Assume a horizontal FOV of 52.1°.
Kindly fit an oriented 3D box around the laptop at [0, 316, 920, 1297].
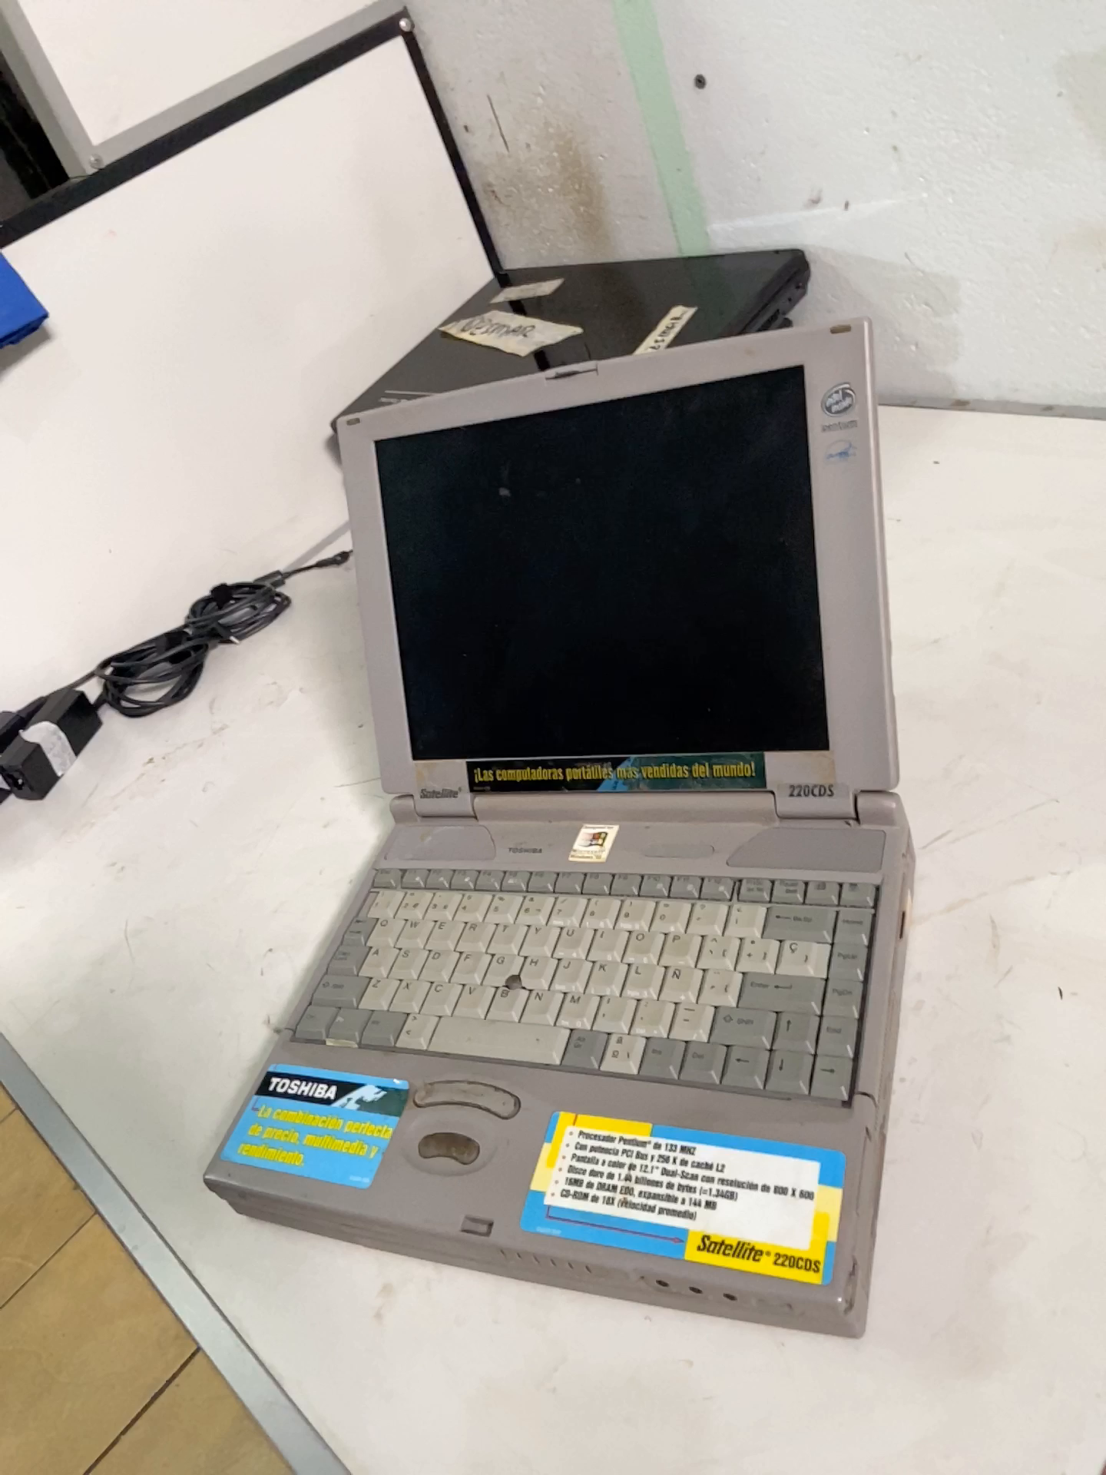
[{"bbox_3d":[-0.014,0.008,0.532,0.301,0.195,0.359,-3,43,27],"label":"laptop"}]
